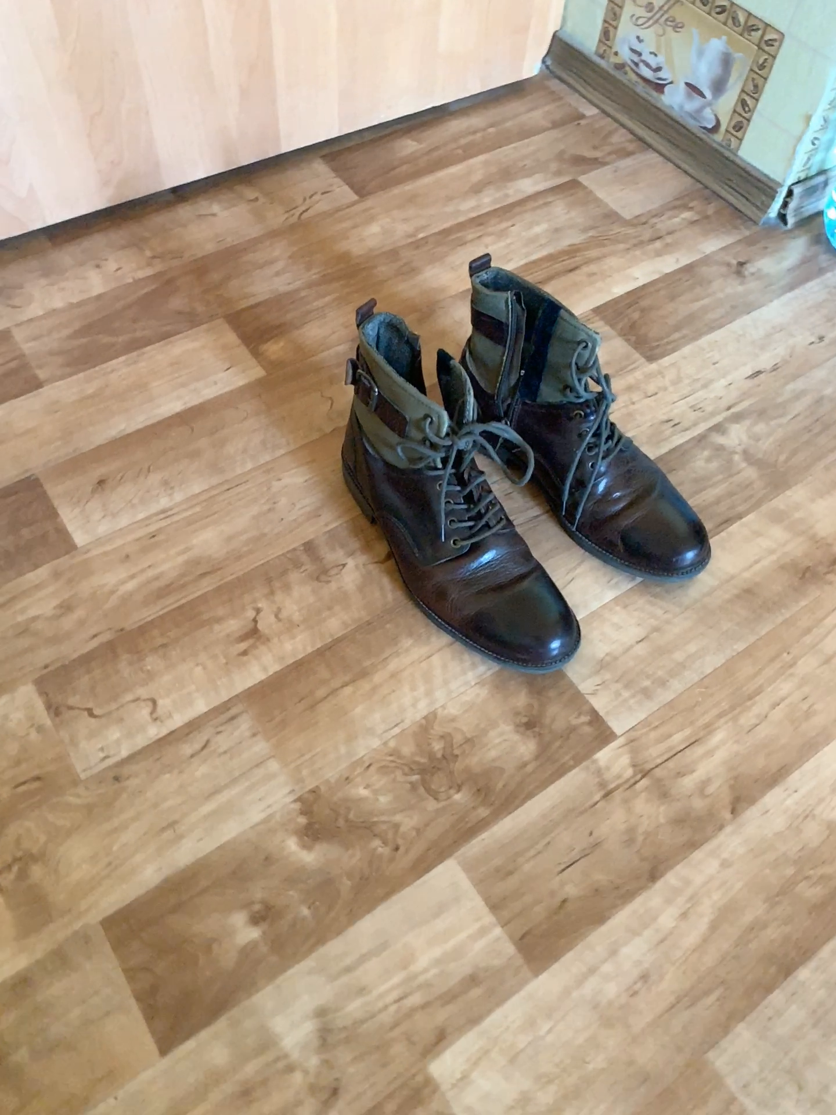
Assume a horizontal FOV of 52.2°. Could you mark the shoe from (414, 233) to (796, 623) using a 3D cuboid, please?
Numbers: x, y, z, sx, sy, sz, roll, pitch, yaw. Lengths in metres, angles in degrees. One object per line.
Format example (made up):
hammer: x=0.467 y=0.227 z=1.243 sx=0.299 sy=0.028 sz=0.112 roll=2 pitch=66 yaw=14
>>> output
shoe: x=0.140 y=-0.117 z=0.744 sx=0.110 sy=0.150 sz=0.310 roll=-33 pitch=65 yaw=-22

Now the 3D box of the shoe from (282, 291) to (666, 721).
shoe: x=0.027 y=-0.046 z=0.684 sx=0.110 sy=0.150 sz=0.311 roll=-31 pitch=65 yaw=-21
